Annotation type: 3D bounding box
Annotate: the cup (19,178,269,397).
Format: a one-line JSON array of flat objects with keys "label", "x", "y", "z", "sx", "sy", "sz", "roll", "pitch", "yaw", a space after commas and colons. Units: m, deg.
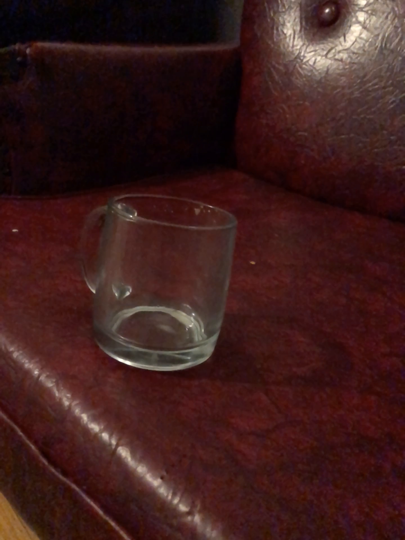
[{"label": "cup", "x": -0.042, "y": -0.002, "z": 0.297, "sx": 0.128, "sy": 0.090, "sz": 0.090, "roll": 22, "pitch": 22, "yaw": 31}]
